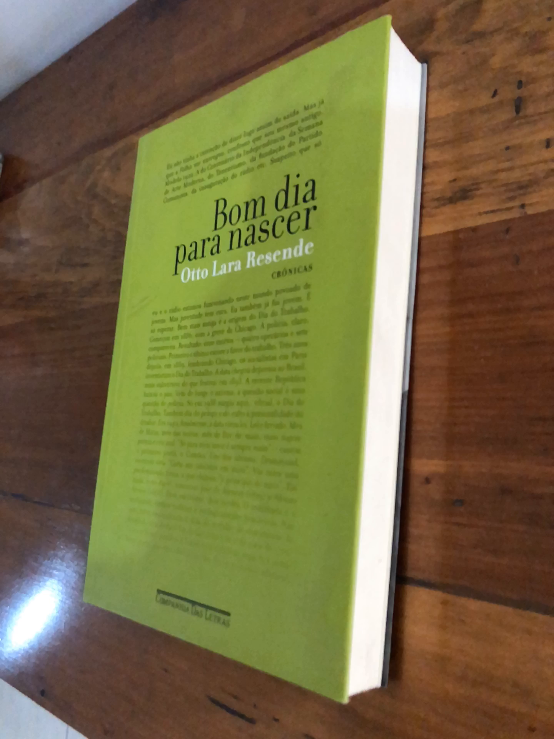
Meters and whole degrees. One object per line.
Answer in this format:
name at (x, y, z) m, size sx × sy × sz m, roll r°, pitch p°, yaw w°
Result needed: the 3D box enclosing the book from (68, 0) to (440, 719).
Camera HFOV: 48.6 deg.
book at (-0.014, -0.008, 0.231) m, size 0.136 × 0.030 × 0.208 m, roll -3°, pitch 77°, yaw 42°
